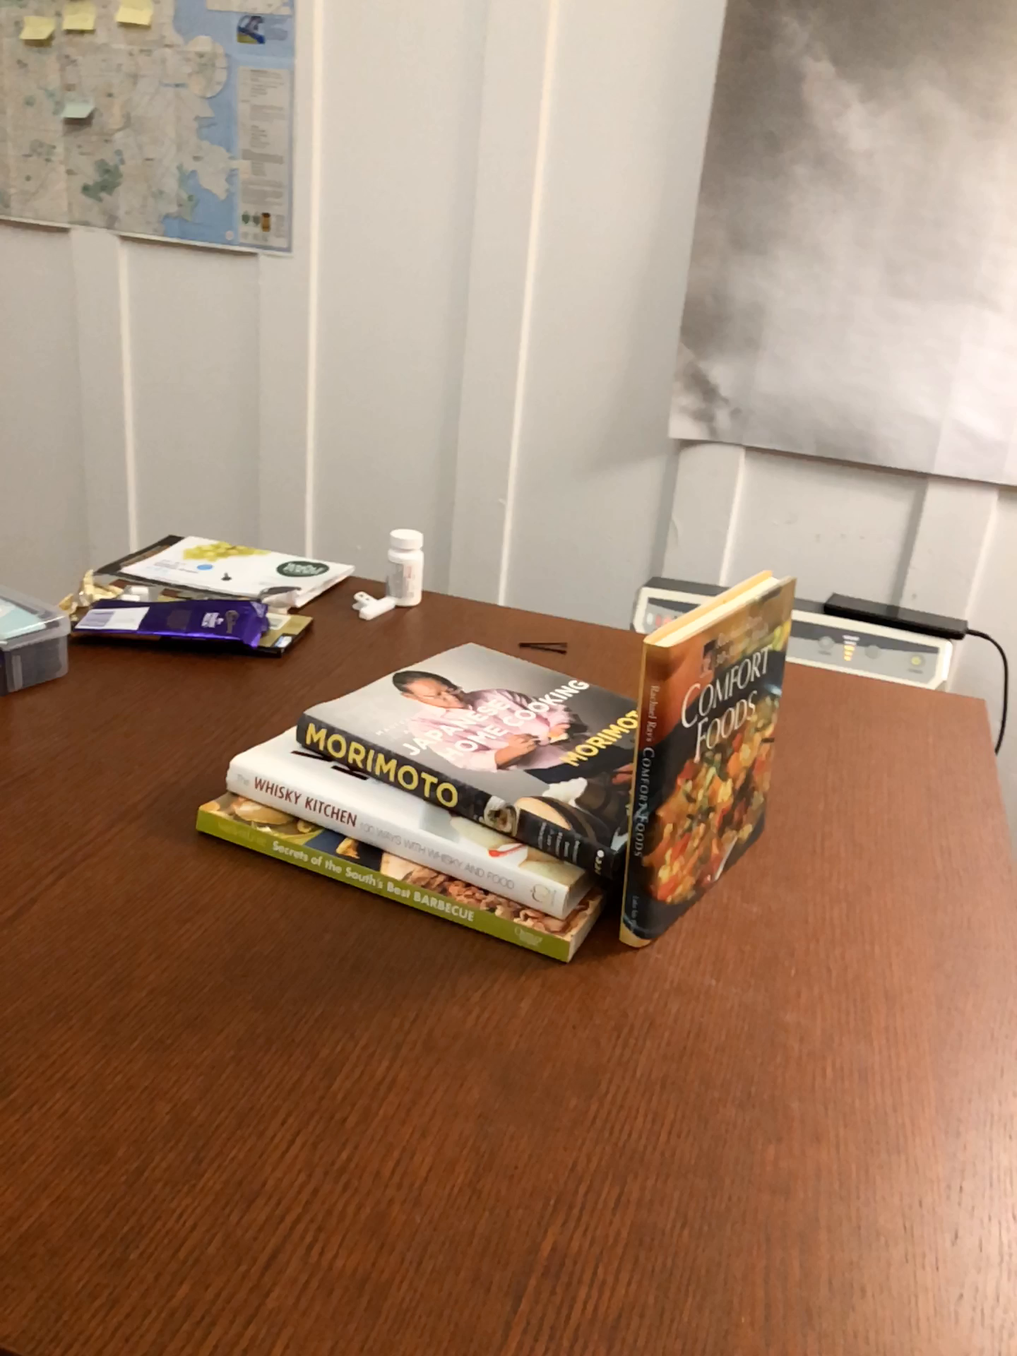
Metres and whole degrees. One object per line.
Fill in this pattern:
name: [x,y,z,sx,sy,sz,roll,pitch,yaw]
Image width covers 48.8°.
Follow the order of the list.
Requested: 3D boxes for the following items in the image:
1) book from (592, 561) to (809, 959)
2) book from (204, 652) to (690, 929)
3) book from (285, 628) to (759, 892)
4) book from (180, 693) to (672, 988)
book: [0.132,0.045,0.748,0.030,0.209,0.211,17,24,31]
book: [-0.038,0.065,0.817,0.280,0.030,0.221,17,26,22]
book: [0.014,0.044,0.839,0.280,0.030,0.221,20,27,27]
book: [-0.051,0.099,0.805,0.280,0.030,0.221,16,25,20]
